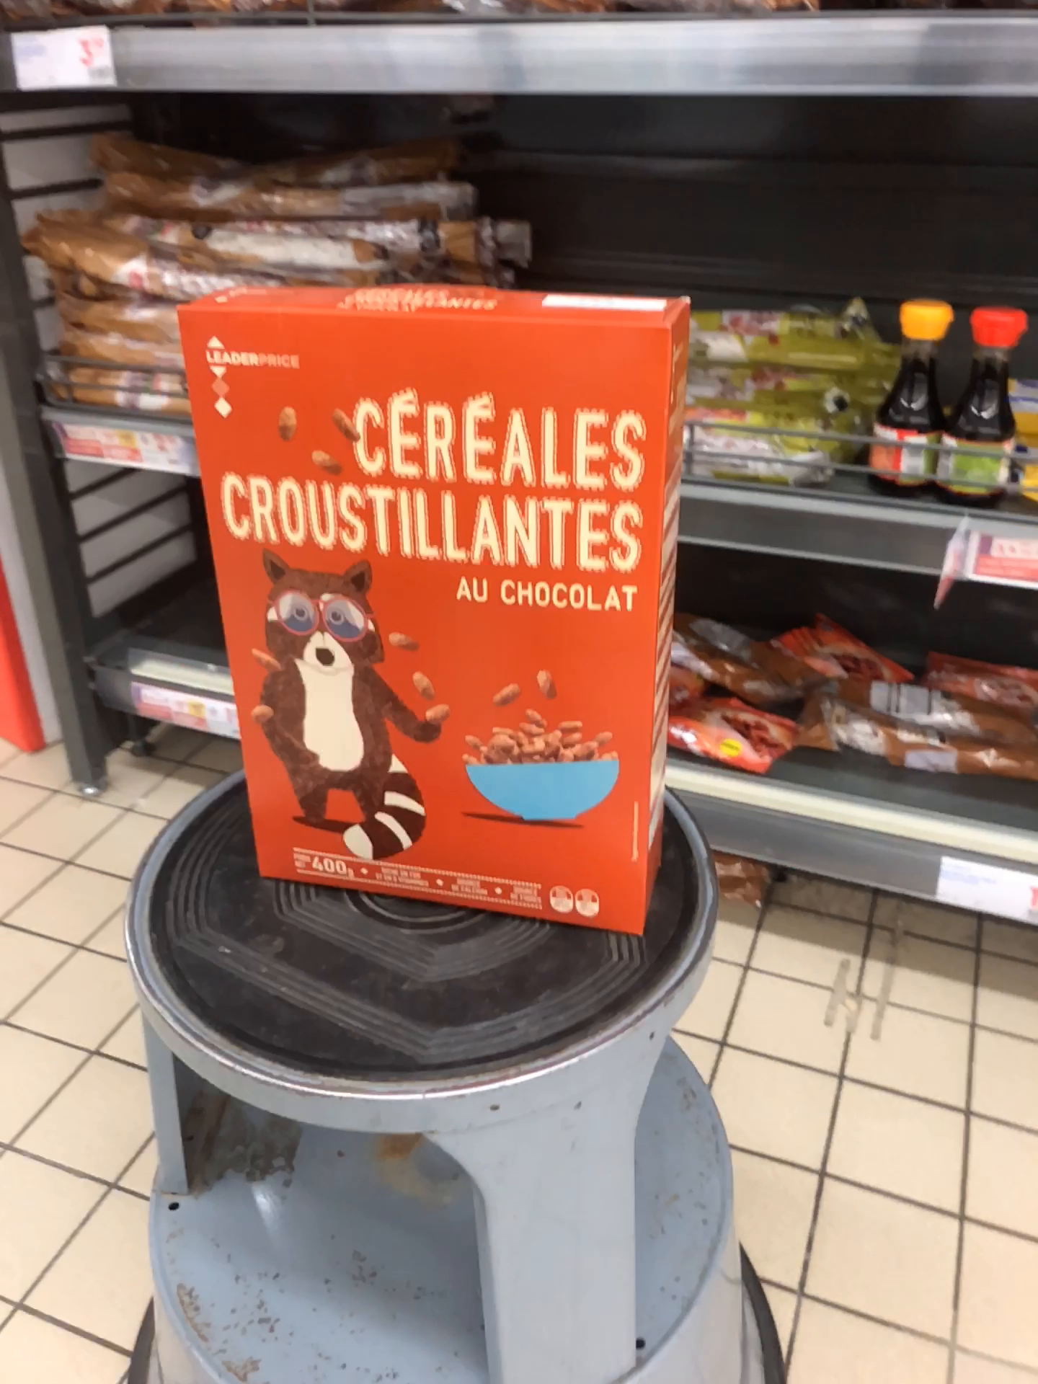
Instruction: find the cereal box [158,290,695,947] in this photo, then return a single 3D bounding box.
[{"bbox_3d":[-0.033,-0.027,0.487,0.190,0.258,0.060,7,30,13],"label":"cereal box"}]
